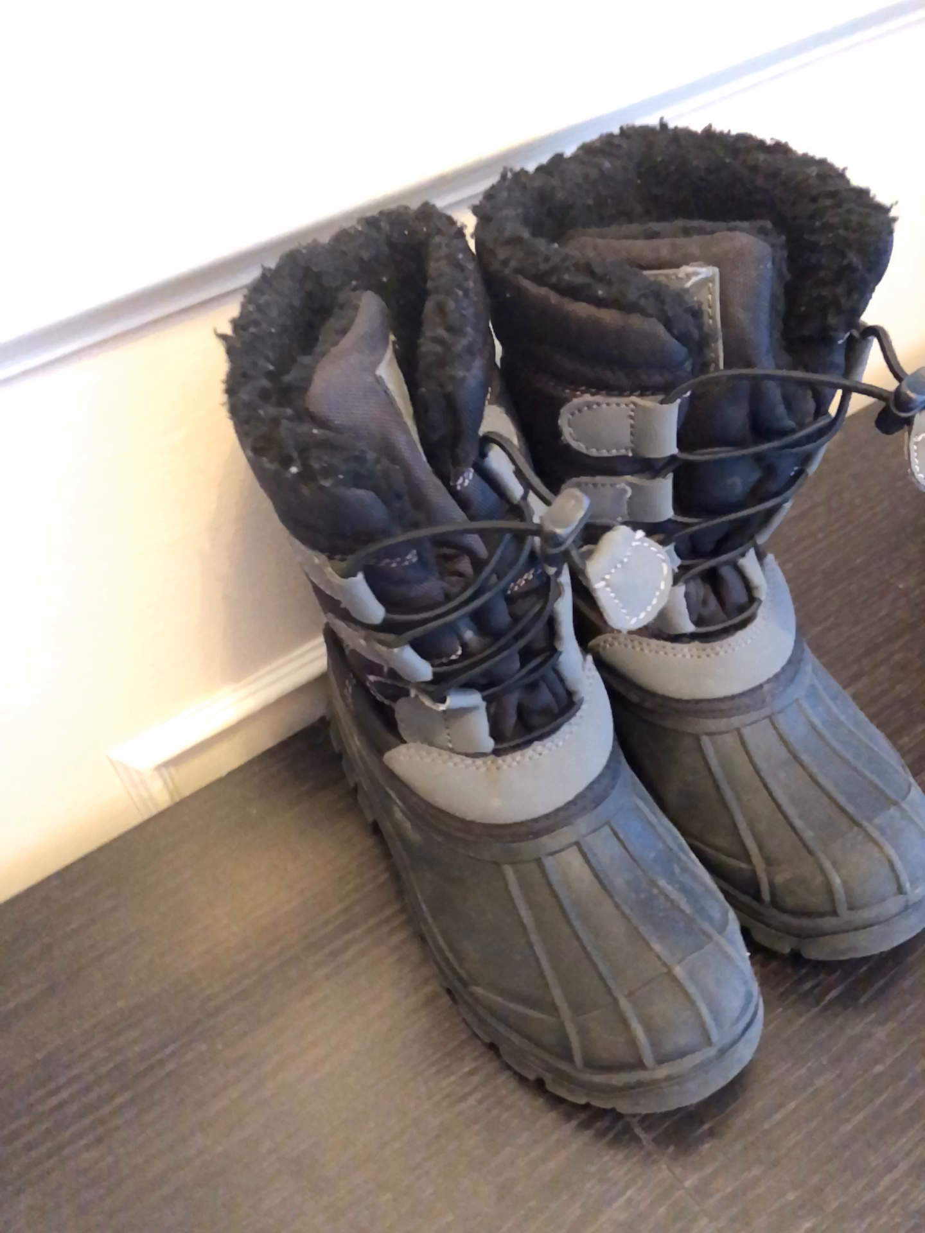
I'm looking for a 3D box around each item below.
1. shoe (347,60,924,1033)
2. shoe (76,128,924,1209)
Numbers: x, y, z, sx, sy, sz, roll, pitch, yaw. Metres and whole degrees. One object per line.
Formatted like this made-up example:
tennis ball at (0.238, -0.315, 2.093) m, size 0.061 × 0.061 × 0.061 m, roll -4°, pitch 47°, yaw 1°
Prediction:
shoe at (0.076, -0.029, 0.329) m, size 0.100 × 0.209 × 0.221 m, roll -28°, pitch 48°, yaw -19°
shoe at (0.005, 0.008, 0.299) m, size 0.100 × 0.209 × 0.221 m, roll -28°, pitch 48°, yaw -19°
